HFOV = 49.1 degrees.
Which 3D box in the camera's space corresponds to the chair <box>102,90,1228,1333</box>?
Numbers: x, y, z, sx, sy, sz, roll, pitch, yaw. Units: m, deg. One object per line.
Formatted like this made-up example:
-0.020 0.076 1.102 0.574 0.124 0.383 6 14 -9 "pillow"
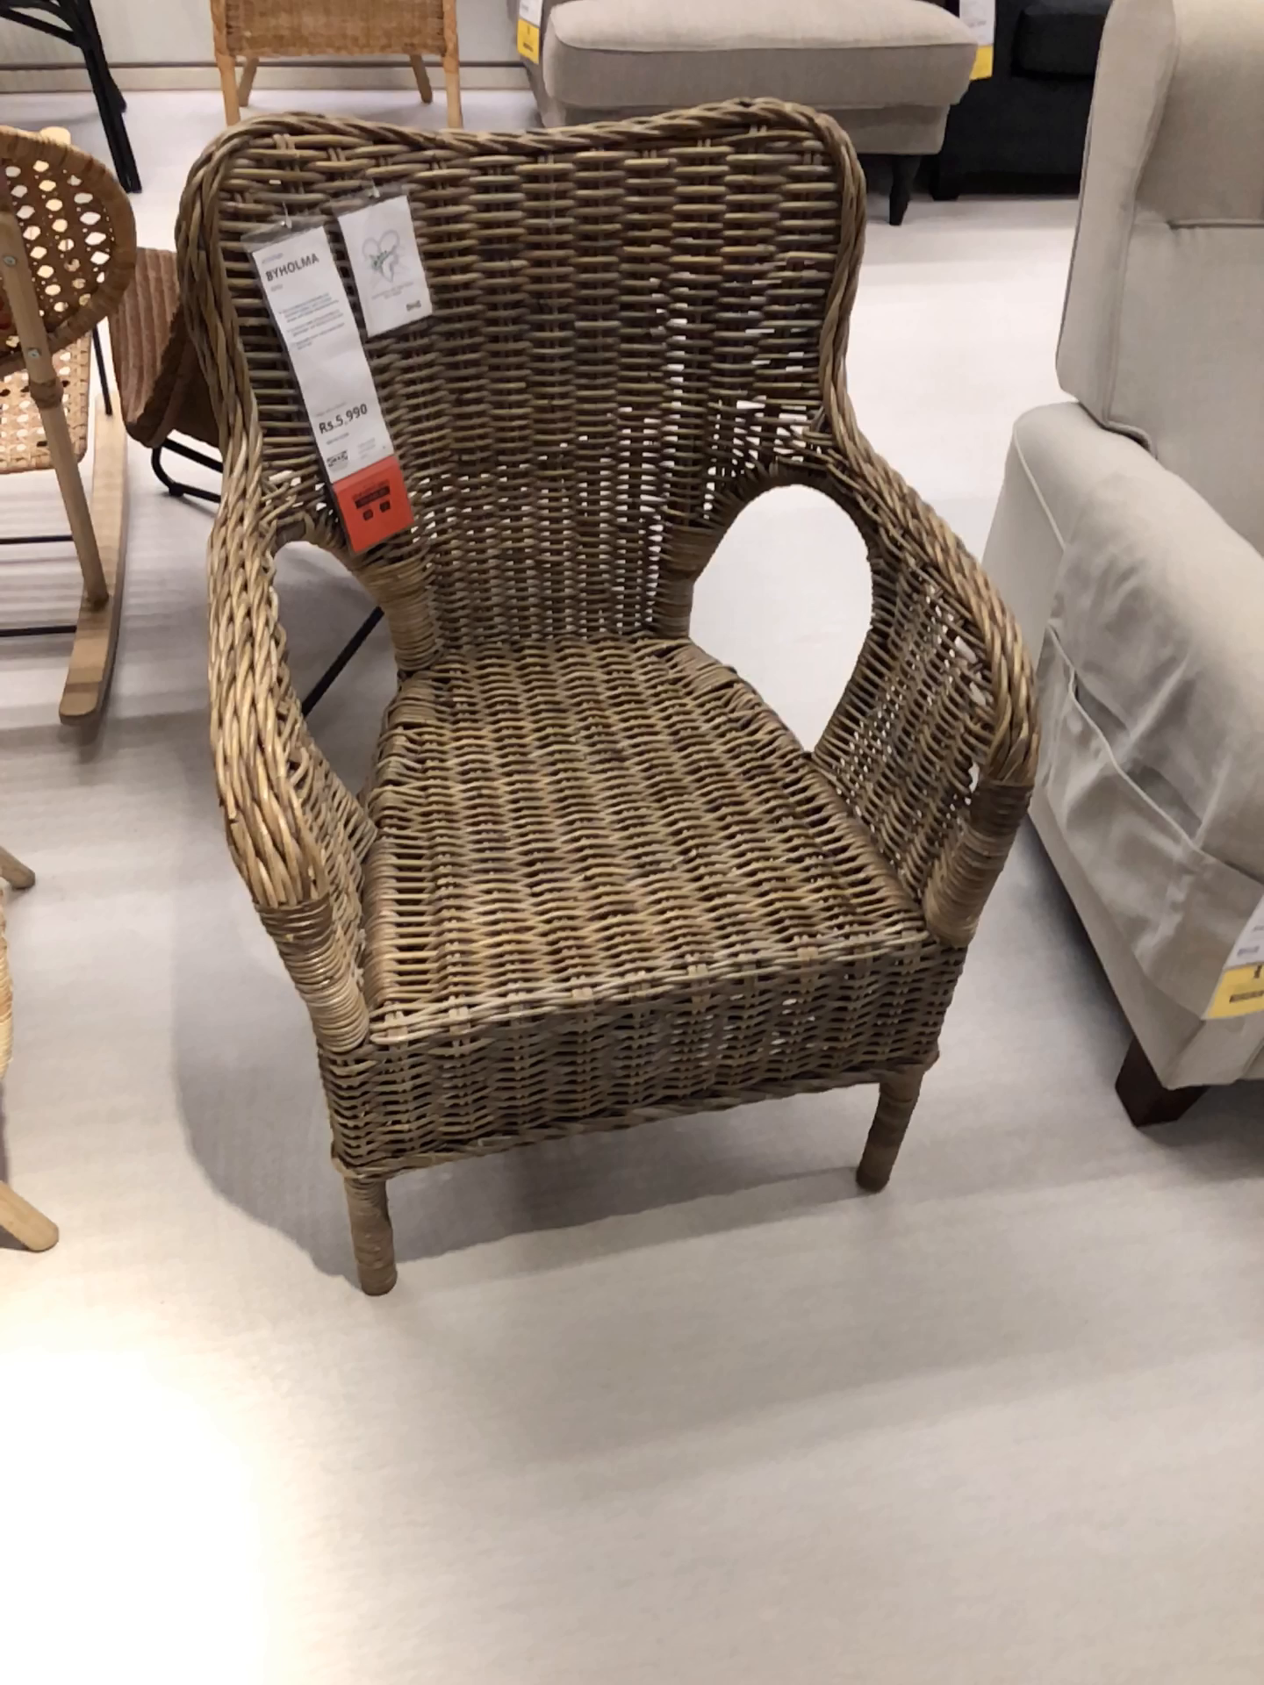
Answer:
-0.059 -0.108 1.357 0.670 0.924 0.684 -8 48 -12 "chair"
